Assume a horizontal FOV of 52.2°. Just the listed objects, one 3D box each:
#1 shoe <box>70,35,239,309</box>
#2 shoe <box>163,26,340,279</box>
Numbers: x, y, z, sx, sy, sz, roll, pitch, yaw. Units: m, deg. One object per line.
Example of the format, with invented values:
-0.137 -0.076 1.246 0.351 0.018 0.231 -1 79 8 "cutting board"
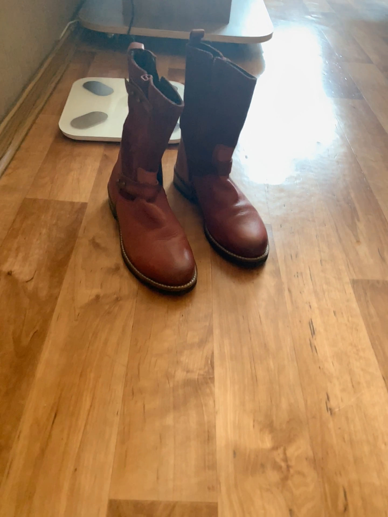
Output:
-0.064 -0.117 0.527 0.100 0.249 0.251 -17 50 -20 "shoe"
0.048 -0.150 0.553 0.090 0.239 0.251 -17 50 -20 "shoe"
